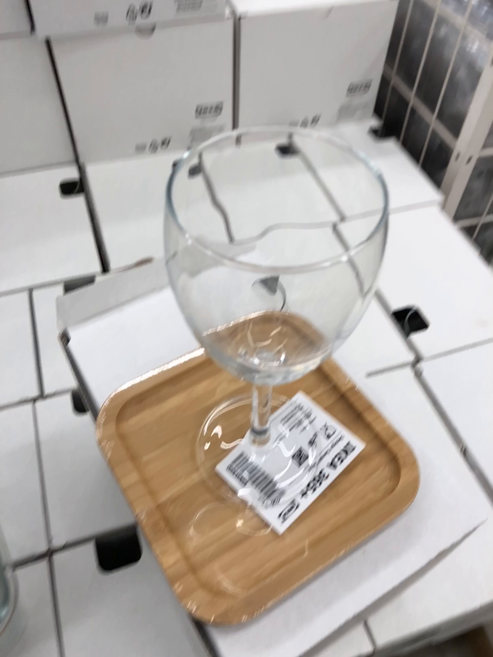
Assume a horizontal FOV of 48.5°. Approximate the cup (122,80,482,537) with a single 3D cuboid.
[{"bbox_3d":[0.010,0.008,0.233,0.080,0.180,0.080,1,52,-1],"label":"cup"}]
